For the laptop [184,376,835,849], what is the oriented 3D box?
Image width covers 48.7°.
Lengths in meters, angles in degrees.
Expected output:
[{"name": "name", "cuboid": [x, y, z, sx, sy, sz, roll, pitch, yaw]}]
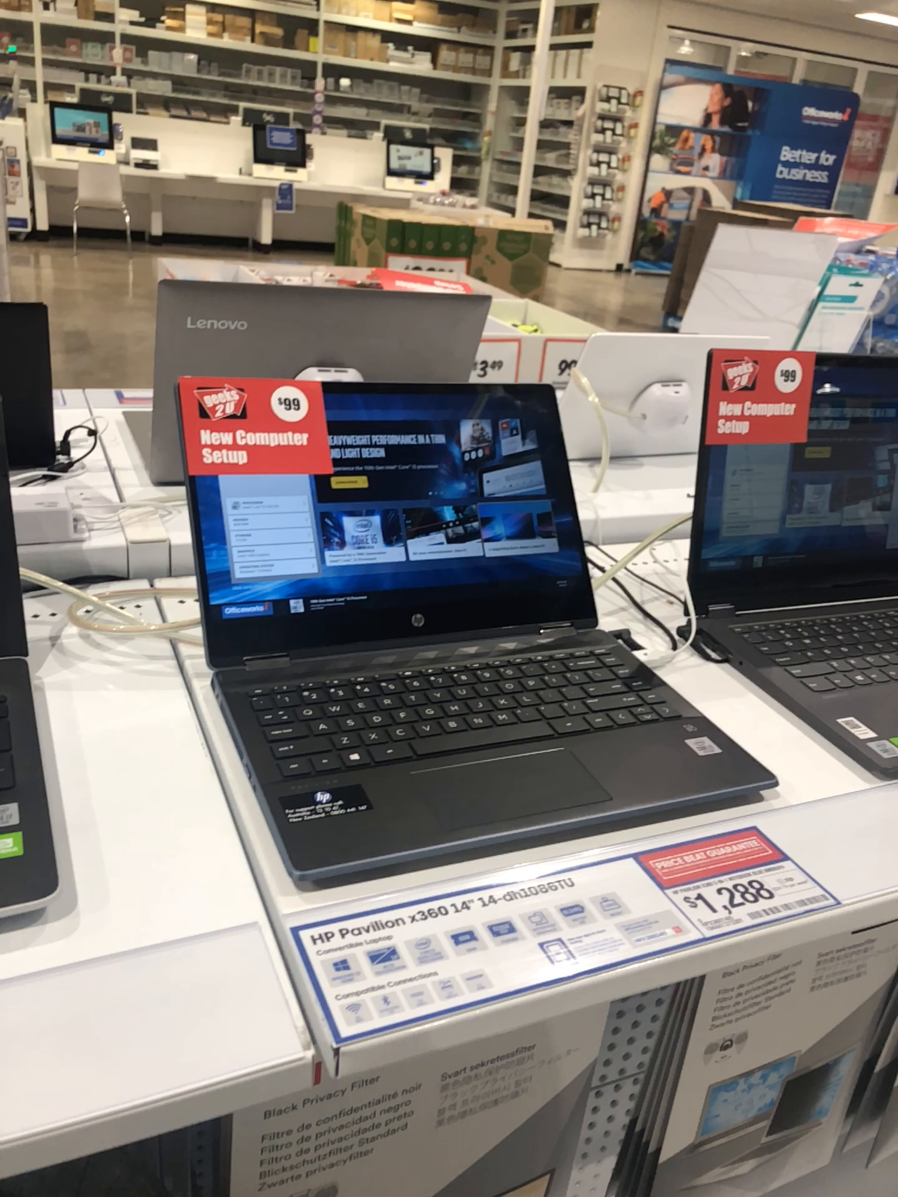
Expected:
[{"name": "laptop", "cuboid": [0.005, -0.029, 0.692, 0.315, 0.165, 0.350, -5, 27, -24]}]
